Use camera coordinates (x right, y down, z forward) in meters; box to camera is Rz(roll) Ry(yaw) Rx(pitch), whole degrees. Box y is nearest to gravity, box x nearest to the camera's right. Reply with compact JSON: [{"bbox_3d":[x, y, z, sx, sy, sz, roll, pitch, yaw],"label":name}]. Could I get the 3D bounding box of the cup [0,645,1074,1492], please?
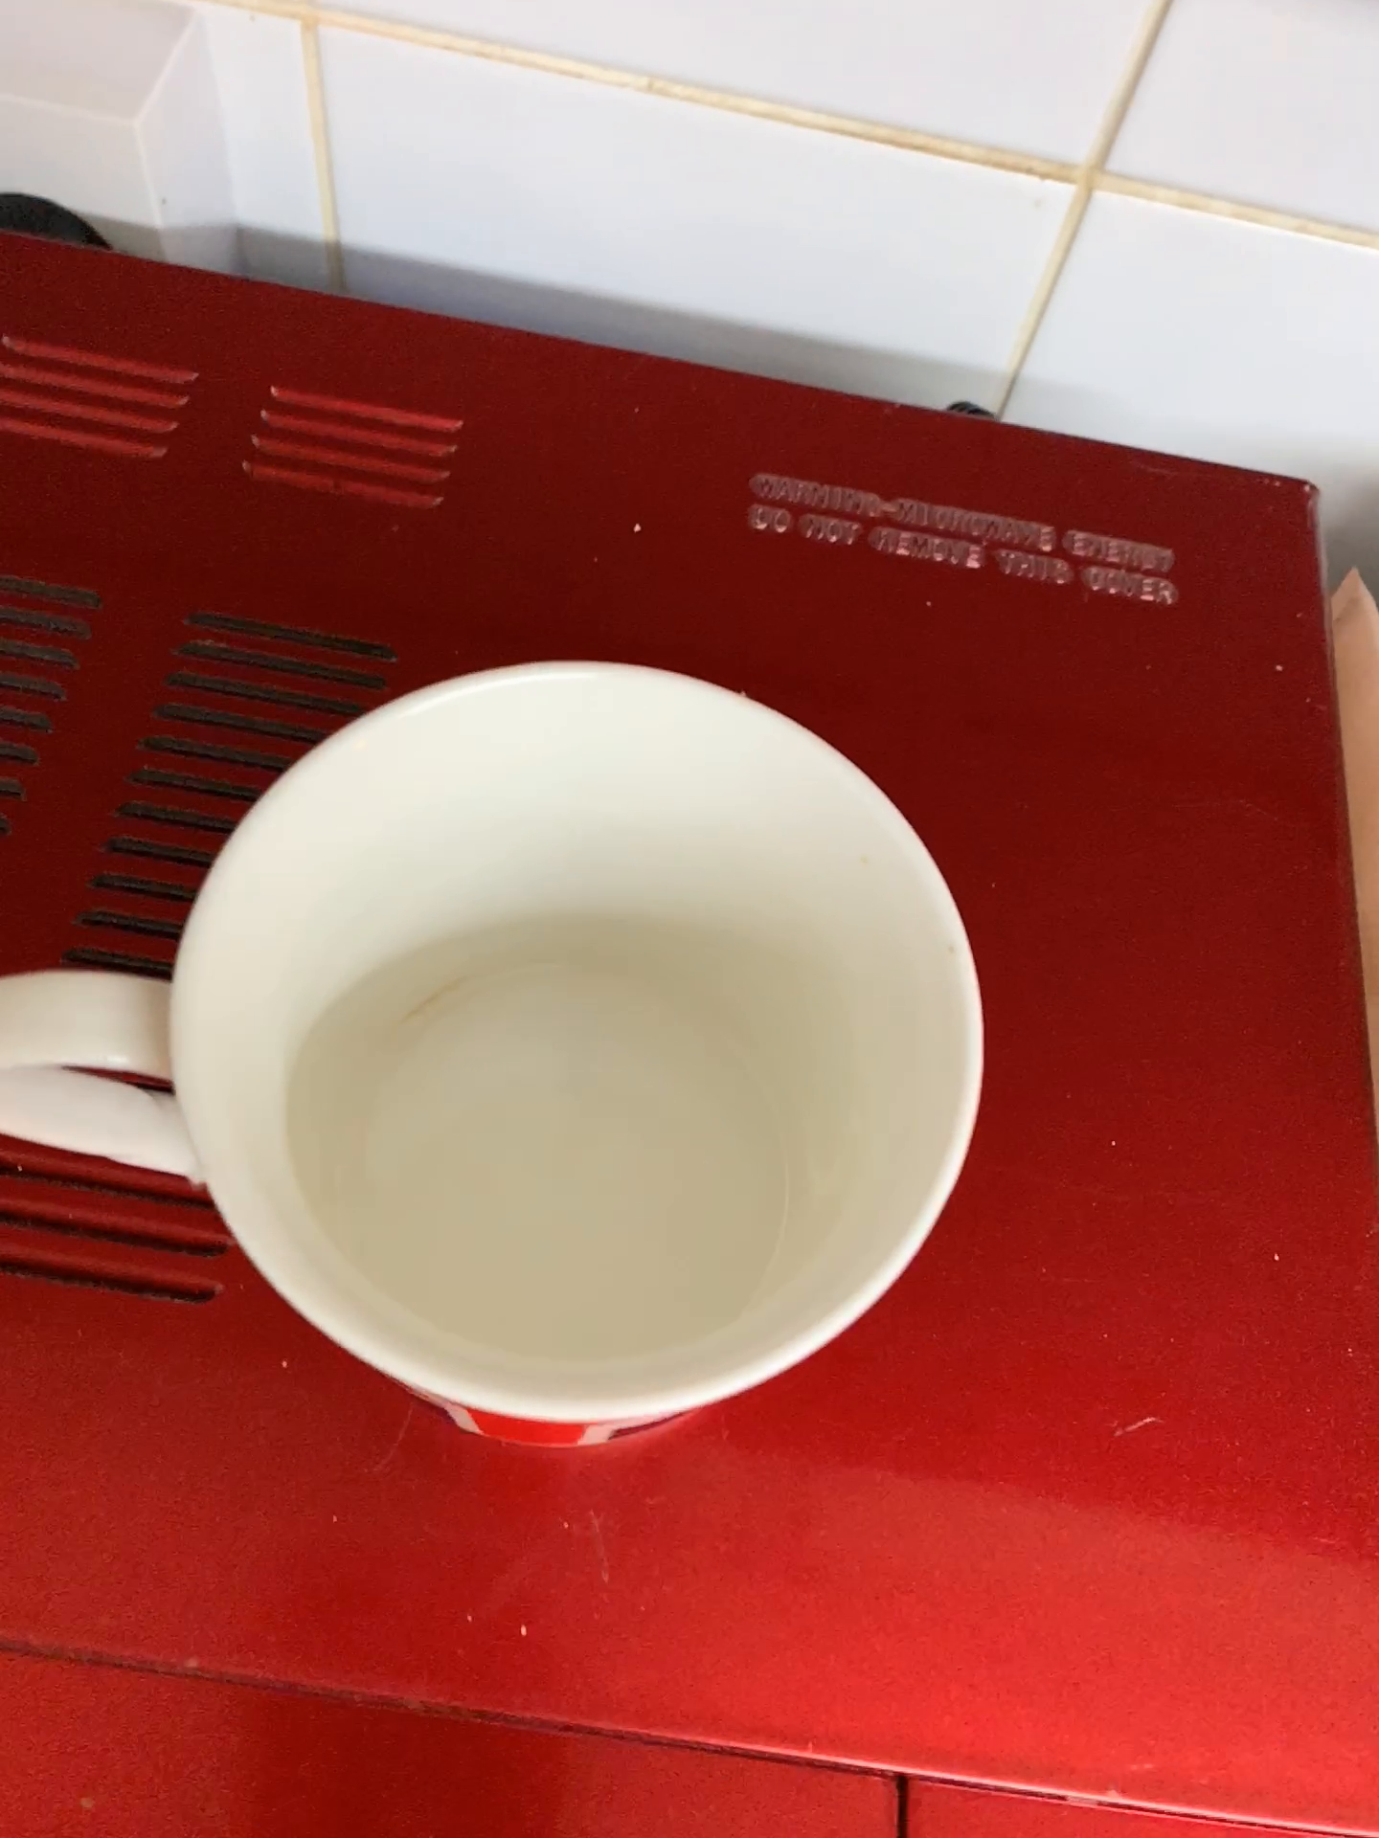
[{"bbox_3d":[-0.028,0.026,0.182,0.120,0.080,0.080,3,64,-6],"label":"cup"}]
